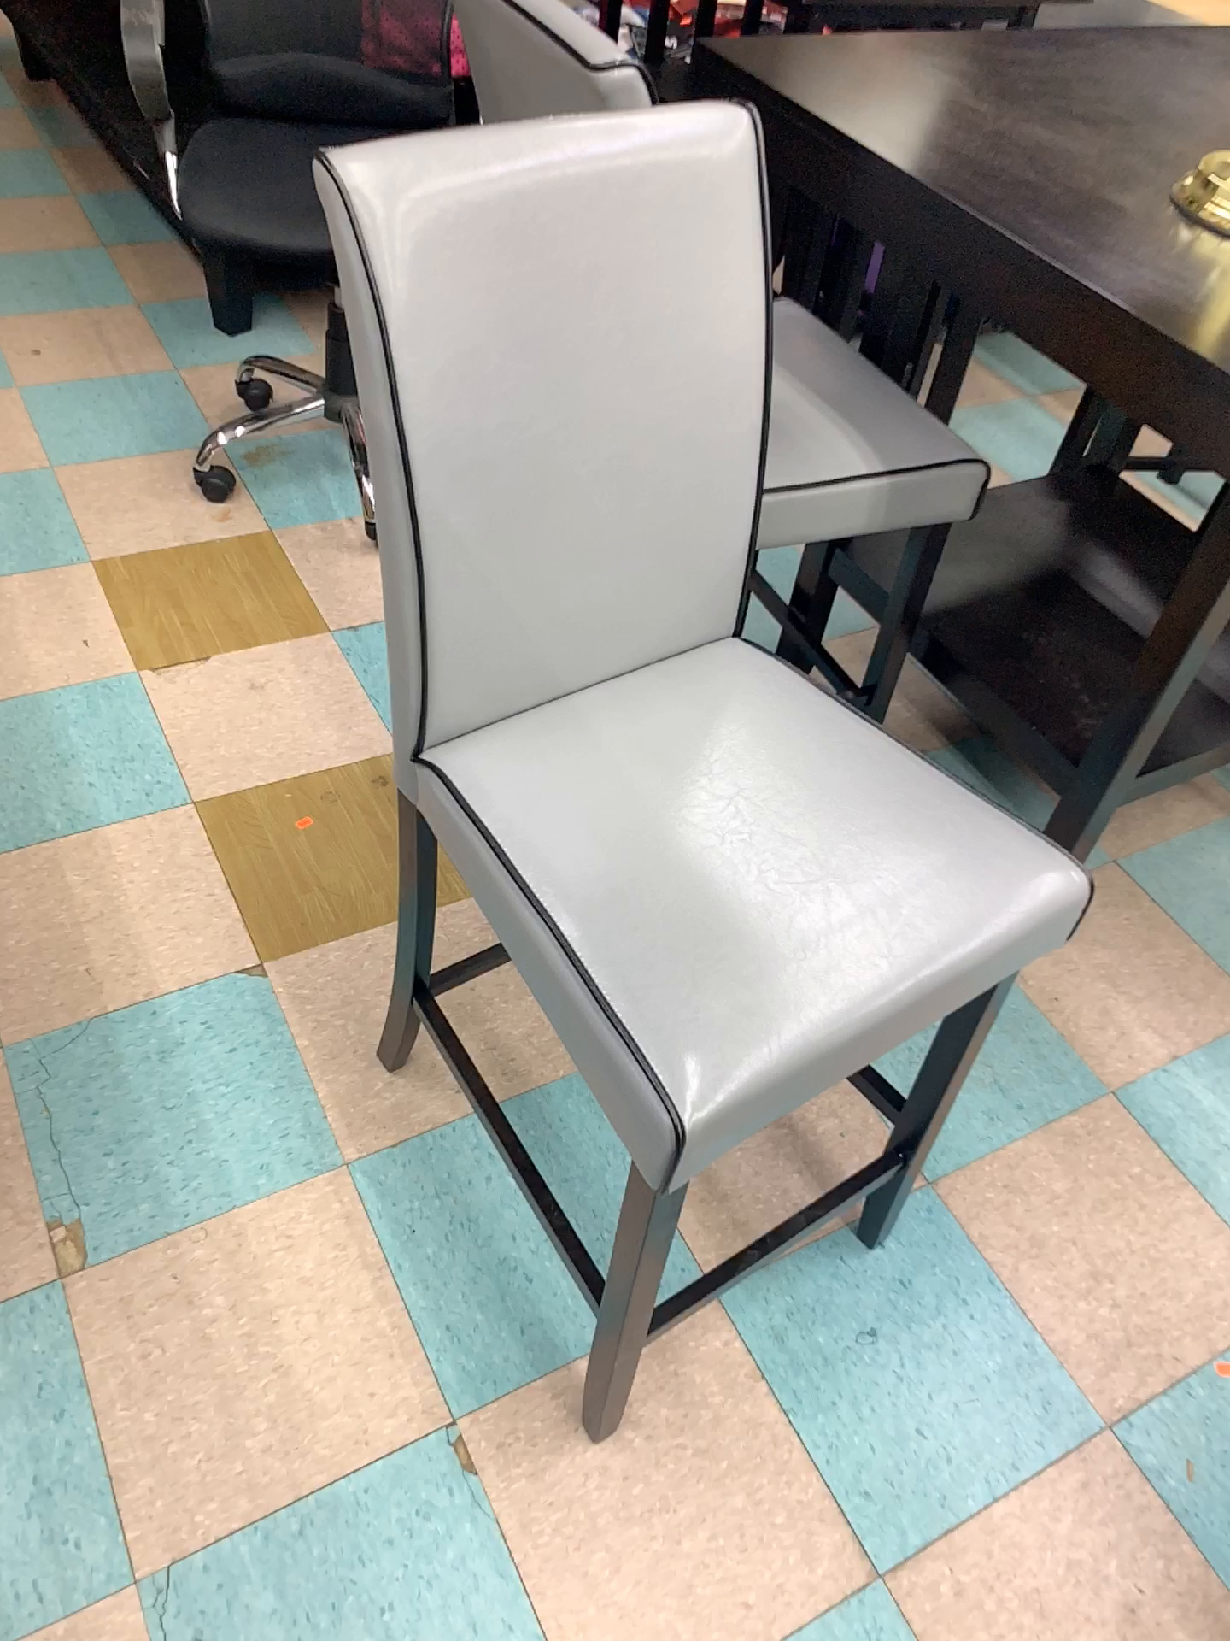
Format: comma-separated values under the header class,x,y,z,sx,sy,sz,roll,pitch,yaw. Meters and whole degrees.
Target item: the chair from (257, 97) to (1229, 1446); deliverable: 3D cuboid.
class,x,y,z,sx,sy,sz,roll,pitch,yaw
chair,0.060,0.000,1.074,0.451,0.930,0.561,-23,54,-28
